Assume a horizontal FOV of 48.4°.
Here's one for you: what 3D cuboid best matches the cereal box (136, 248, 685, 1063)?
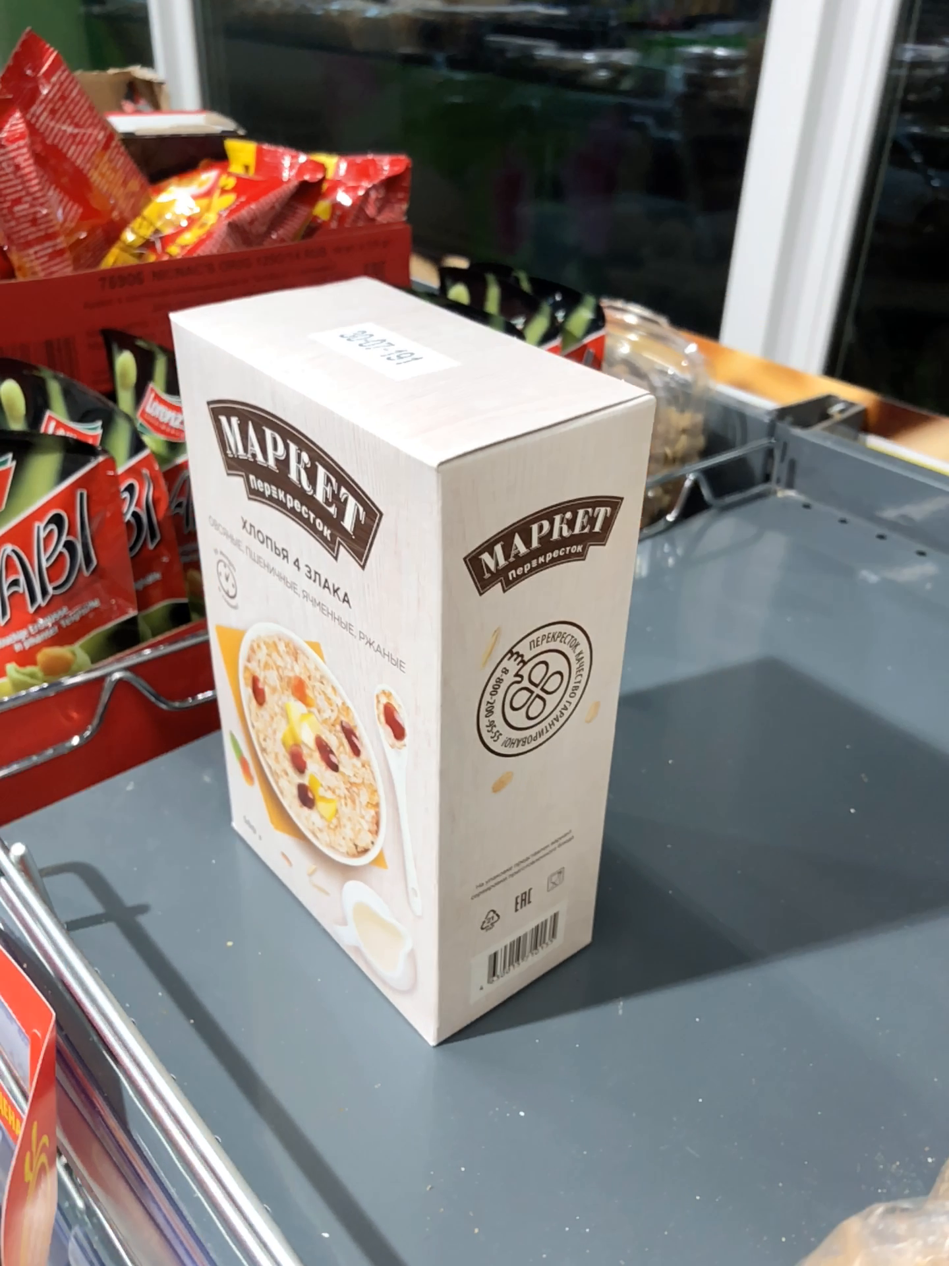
[{"bbox_3d":[-0.025,0.003,0.310,0.070,0.189,0.130,-23,41,-34],"label":"cereal box"}]
